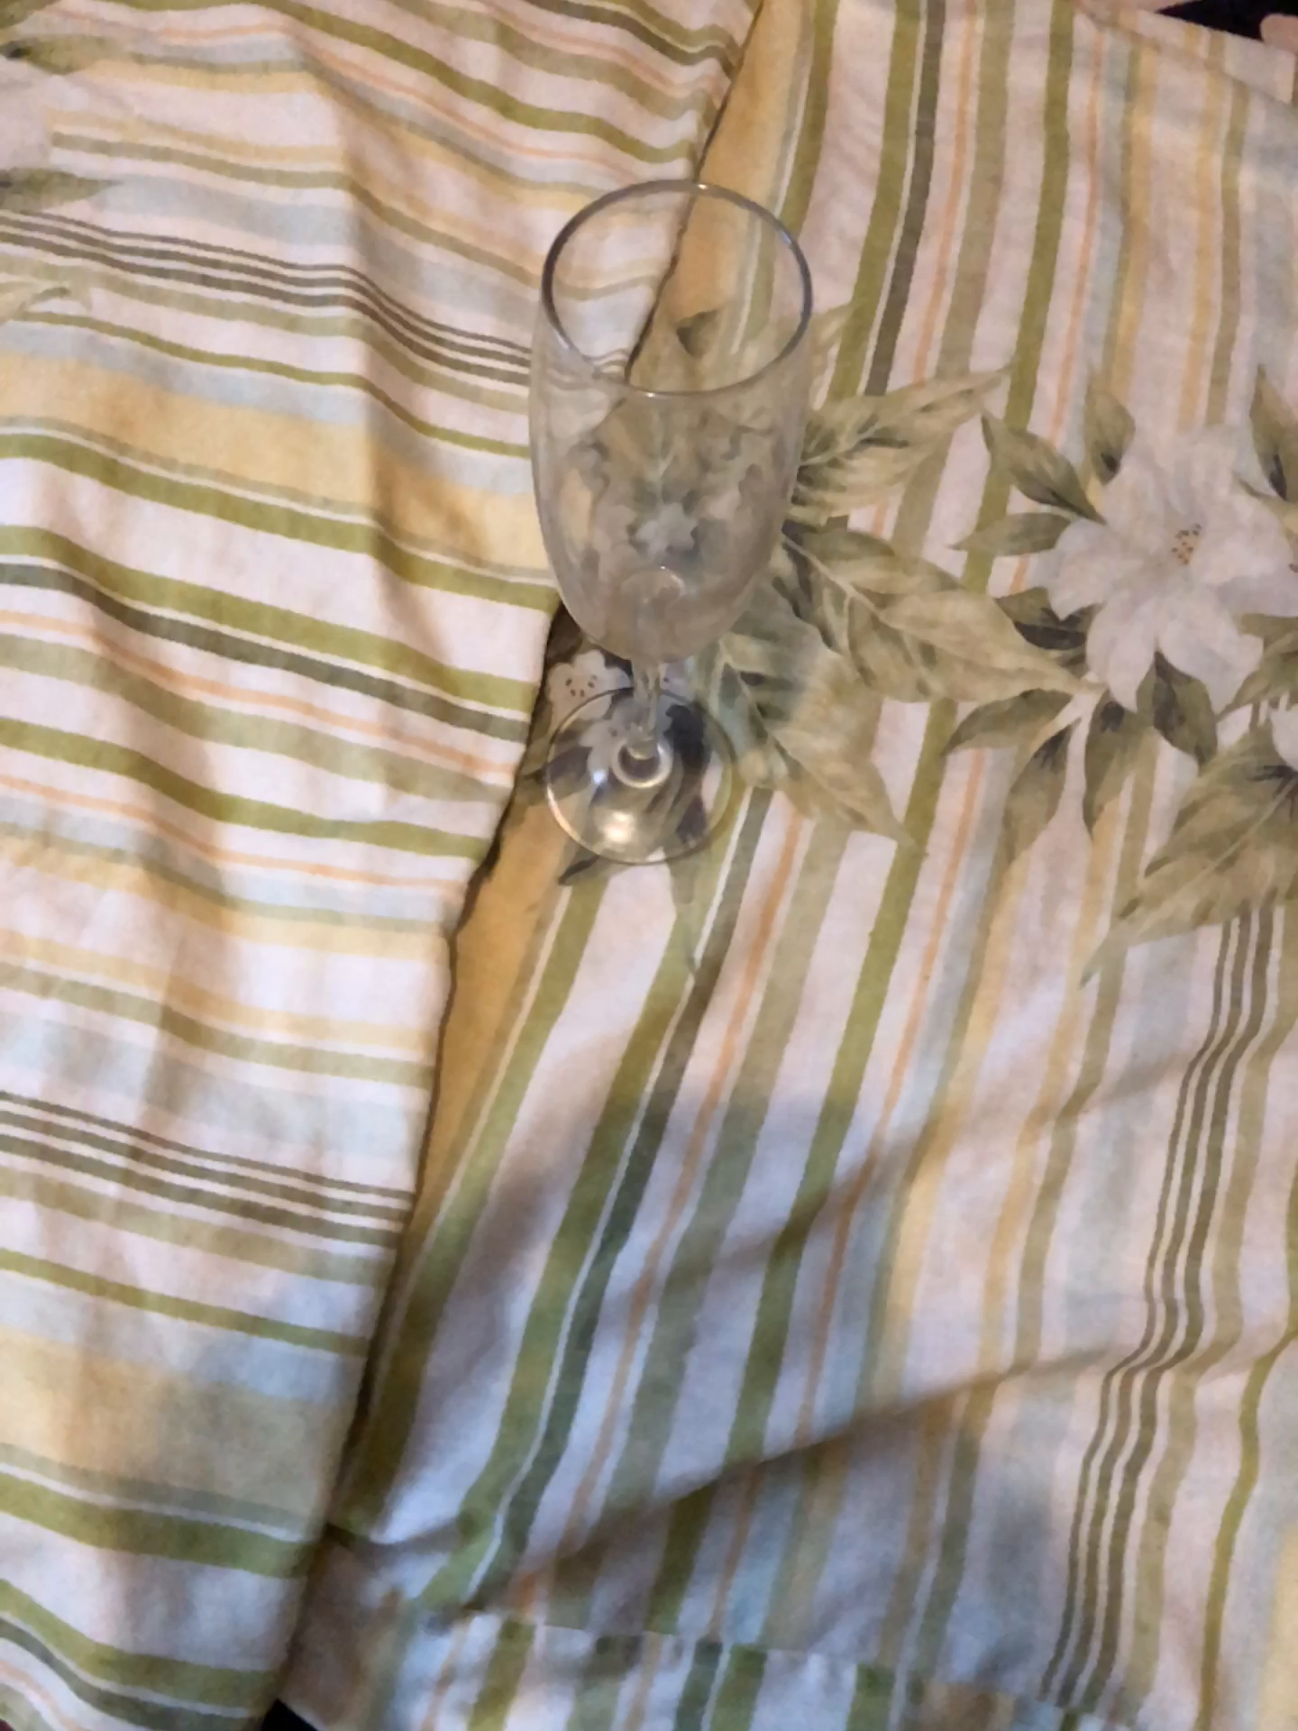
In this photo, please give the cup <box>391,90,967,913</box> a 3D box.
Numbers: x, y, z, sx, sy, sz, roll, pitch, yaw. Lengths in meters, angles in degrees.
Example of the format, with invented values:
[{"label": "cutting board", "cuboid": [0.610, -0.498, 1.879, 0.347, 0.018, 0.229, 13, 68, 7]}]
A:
[{"label": "cup", "cuboid": [0.000, -0.069, 0.370, 0.082, 0.218, 0.071, 32, 73, 7]}]
